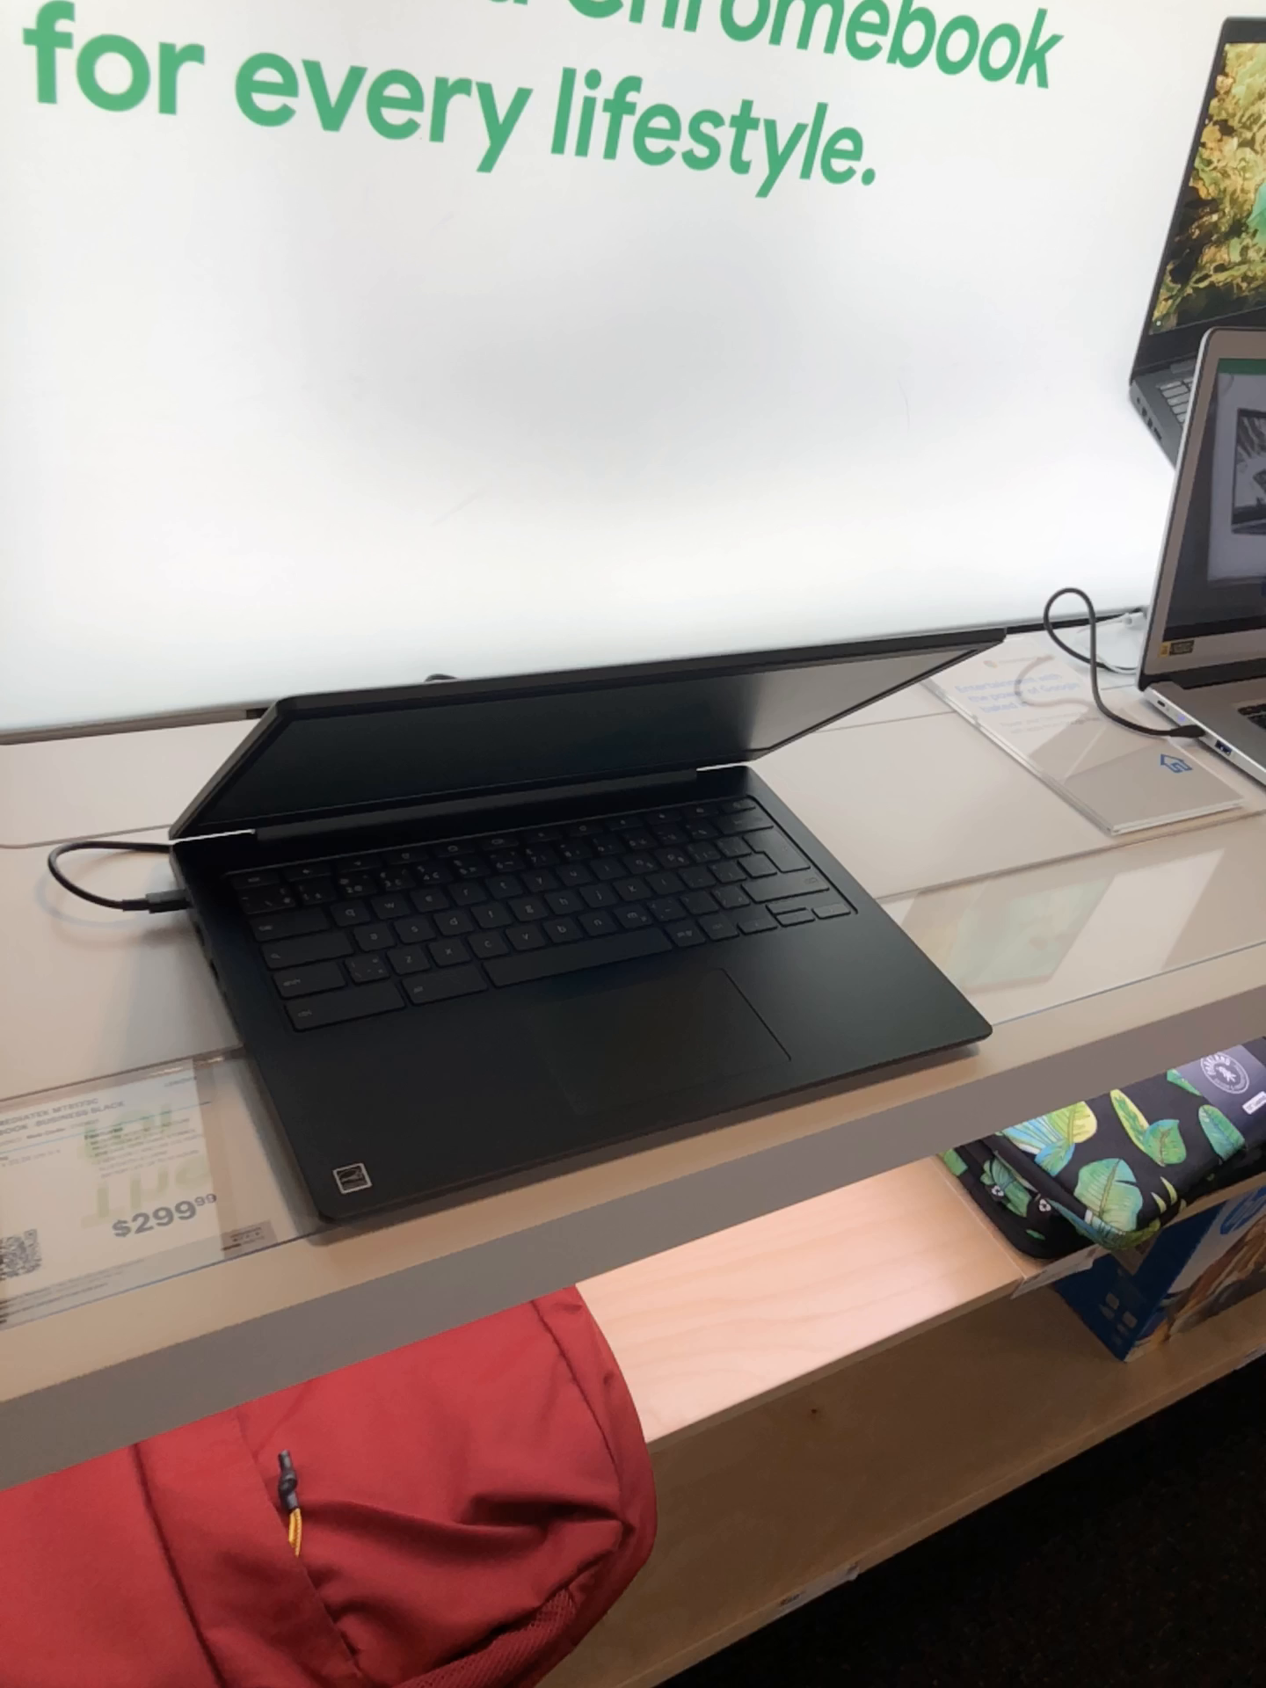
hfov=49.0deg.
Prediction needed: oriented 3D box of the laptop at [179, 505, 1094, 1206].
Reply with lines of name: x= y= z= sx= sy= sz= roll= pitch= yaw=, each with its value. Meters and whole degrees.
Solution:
laptop: x=-0.013 y=-0.019 z=0.597 sx=0.307 sy=0.157 sz=0.214 roll=-9 pitch=42 yaw=-28
